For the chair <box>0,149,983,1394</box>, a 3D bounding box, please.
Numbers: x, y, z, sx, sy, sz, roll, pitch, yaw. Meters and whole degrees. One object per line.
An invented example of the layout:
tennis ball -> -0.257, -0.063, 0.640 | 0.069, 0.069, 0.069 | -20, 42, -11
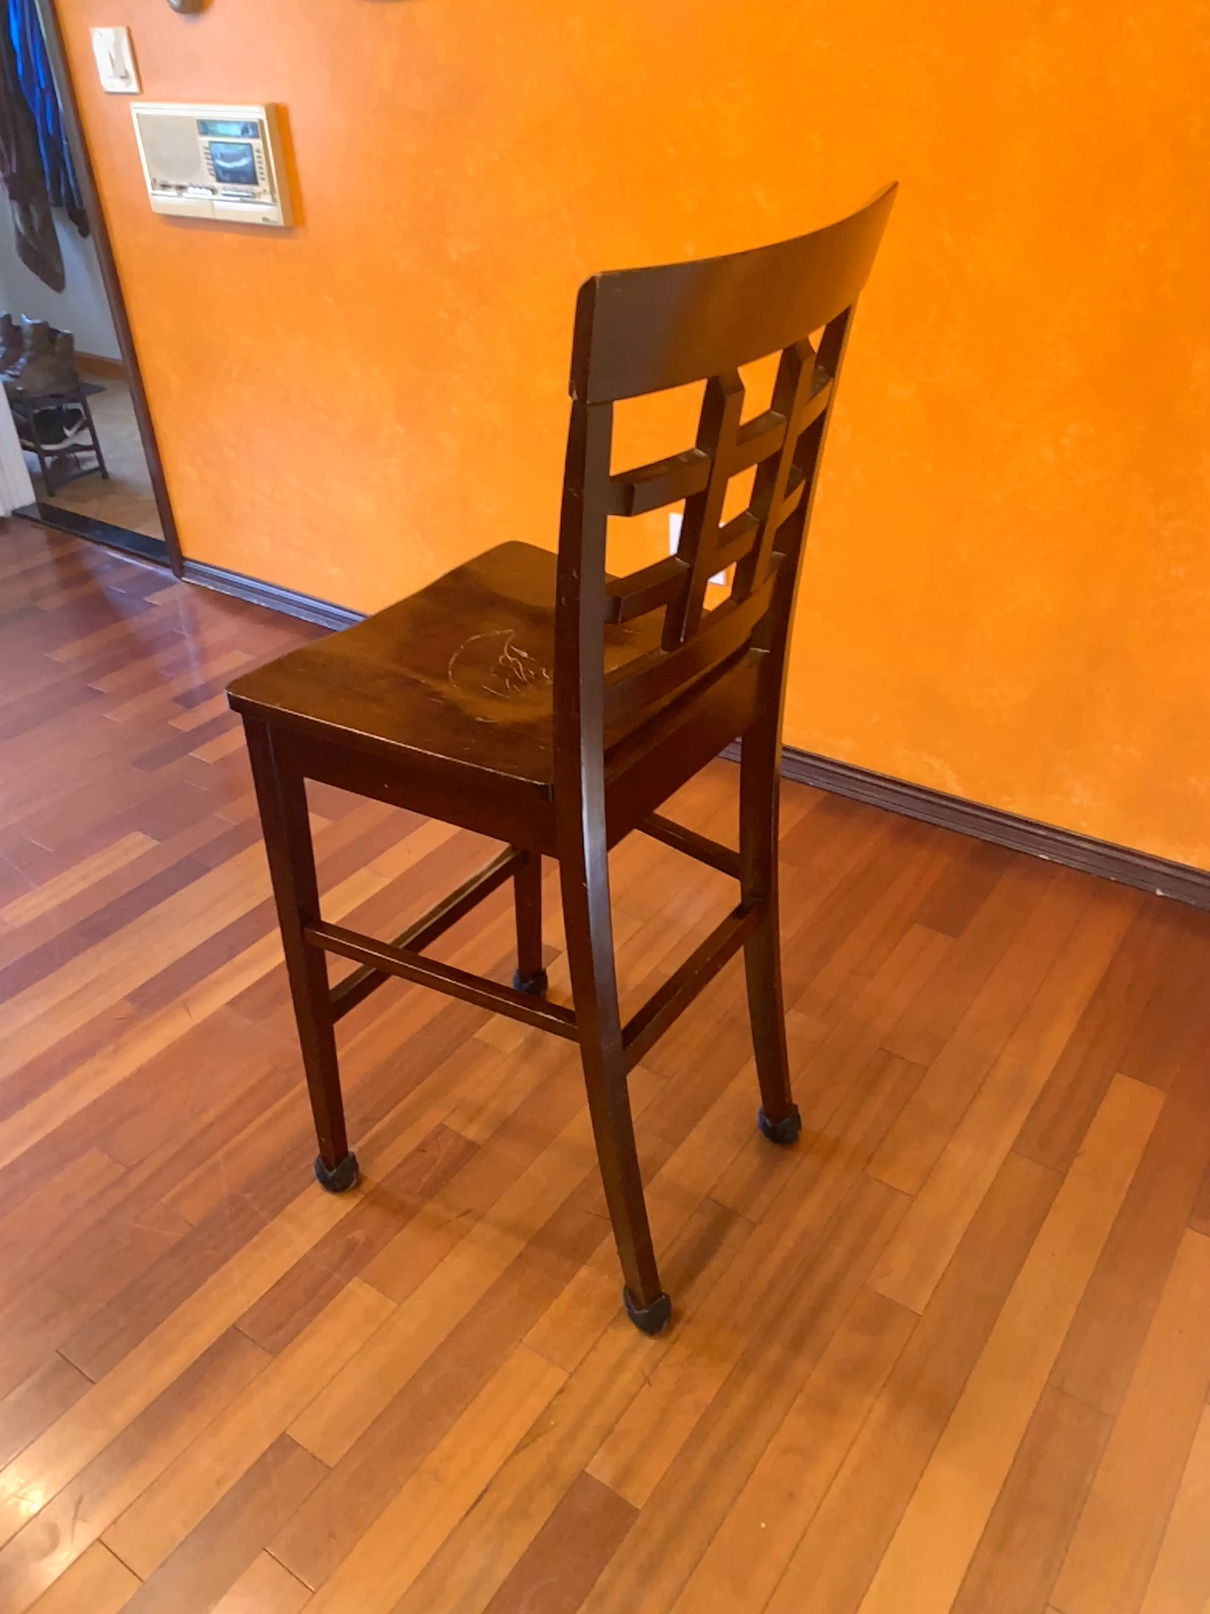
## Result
chair -> -0.082, -0.066, 1.244 | 0.593, 0.986, 0.534 | 20, 39, 30
